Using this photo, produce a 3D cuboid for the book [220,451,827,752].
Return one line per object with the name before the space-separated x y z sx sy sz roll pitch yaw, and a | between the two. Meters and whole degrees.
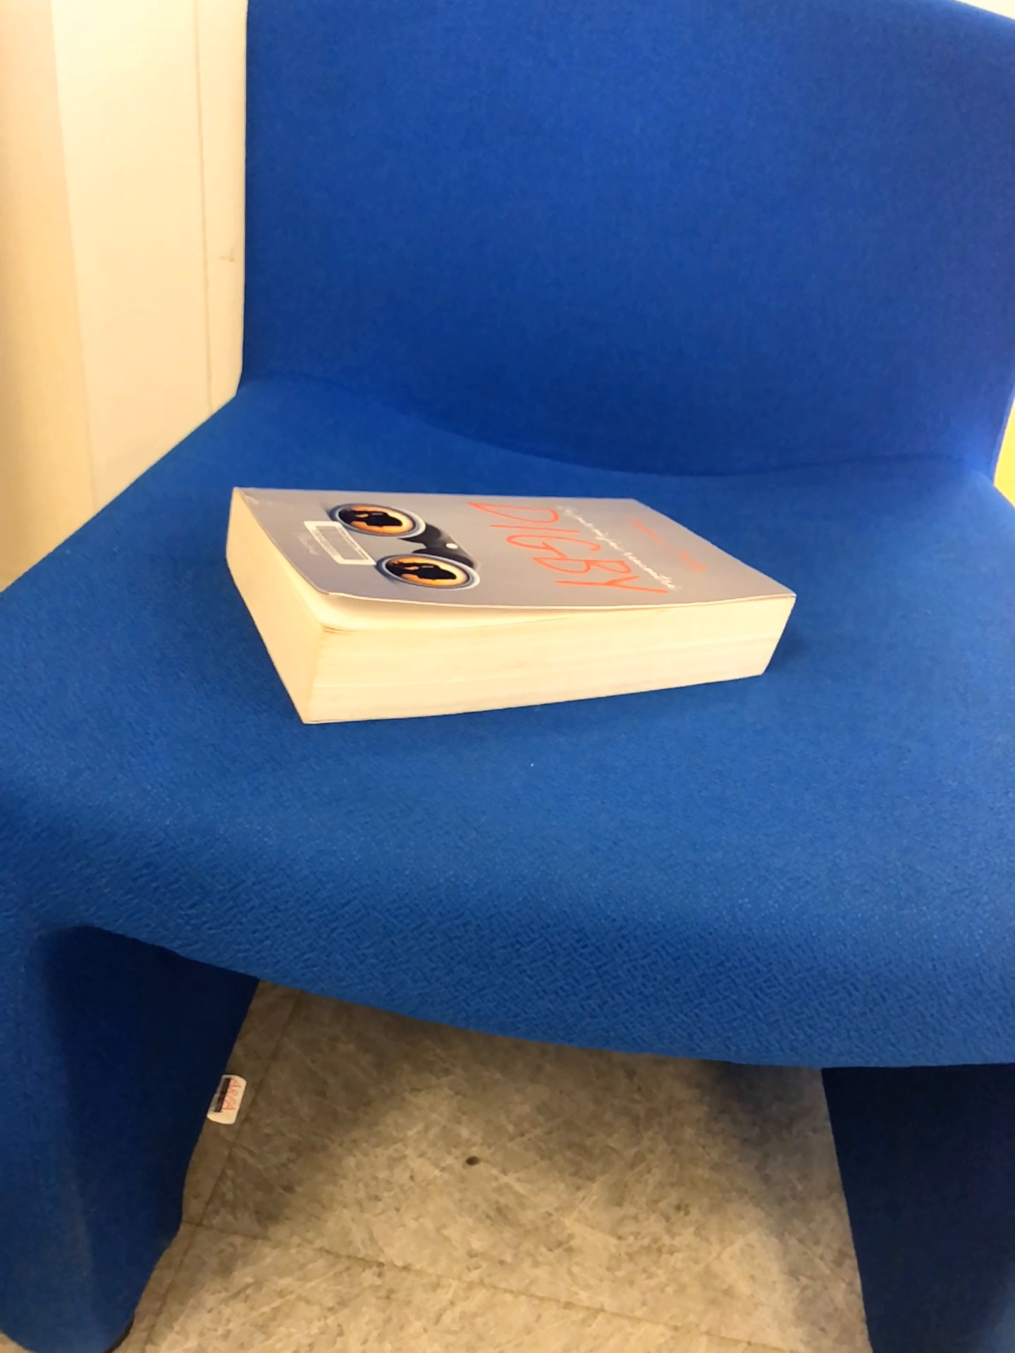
book | 0.000 -0.039 0.479 0.211 0.056 0.151 -2 30 -26
